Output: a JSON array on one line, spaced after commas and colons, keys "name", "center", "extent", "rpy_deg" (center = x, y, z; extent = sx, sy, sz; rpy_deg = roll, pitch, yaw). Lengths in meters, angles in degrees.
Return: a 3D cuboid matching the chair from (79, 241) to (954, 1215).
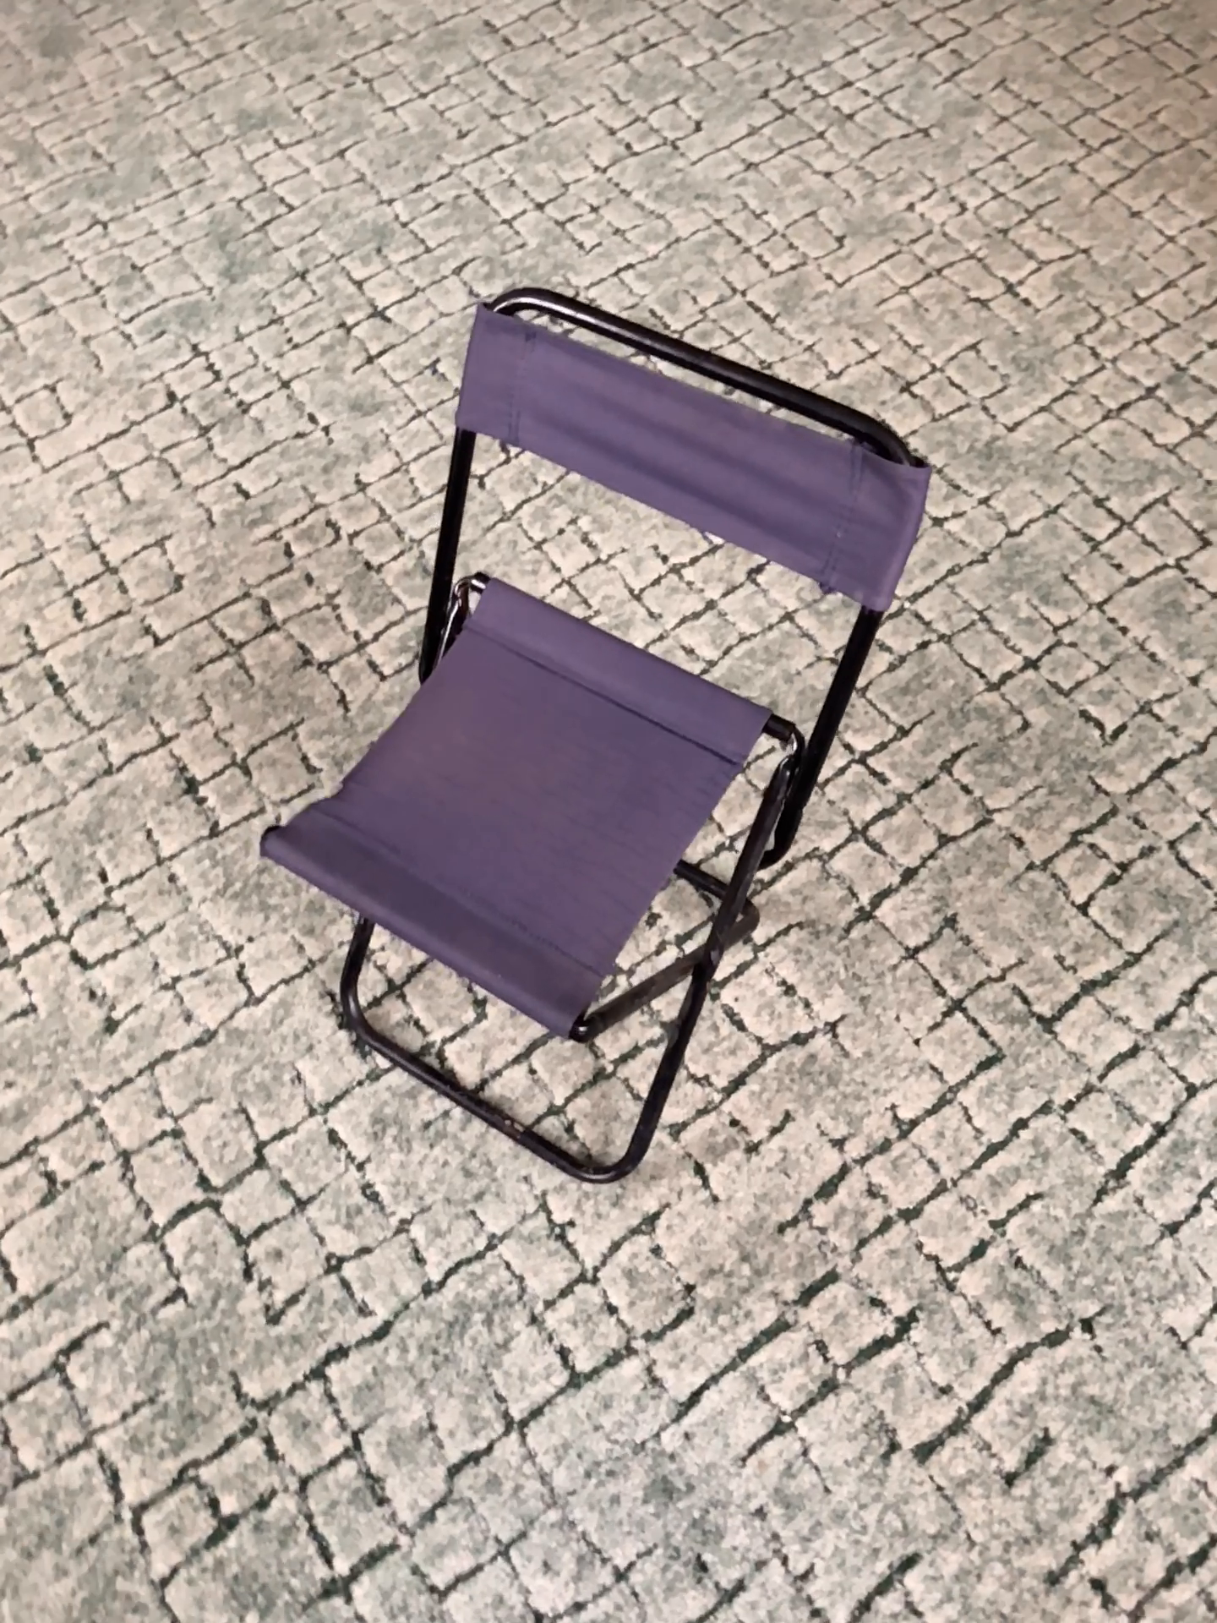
[{"name": "chair", "center": [-0.035, -0.027, 1.001], "extent": [0.342, 0.537, 0.399], "rpy_deg": [28, 64, 17]}]
